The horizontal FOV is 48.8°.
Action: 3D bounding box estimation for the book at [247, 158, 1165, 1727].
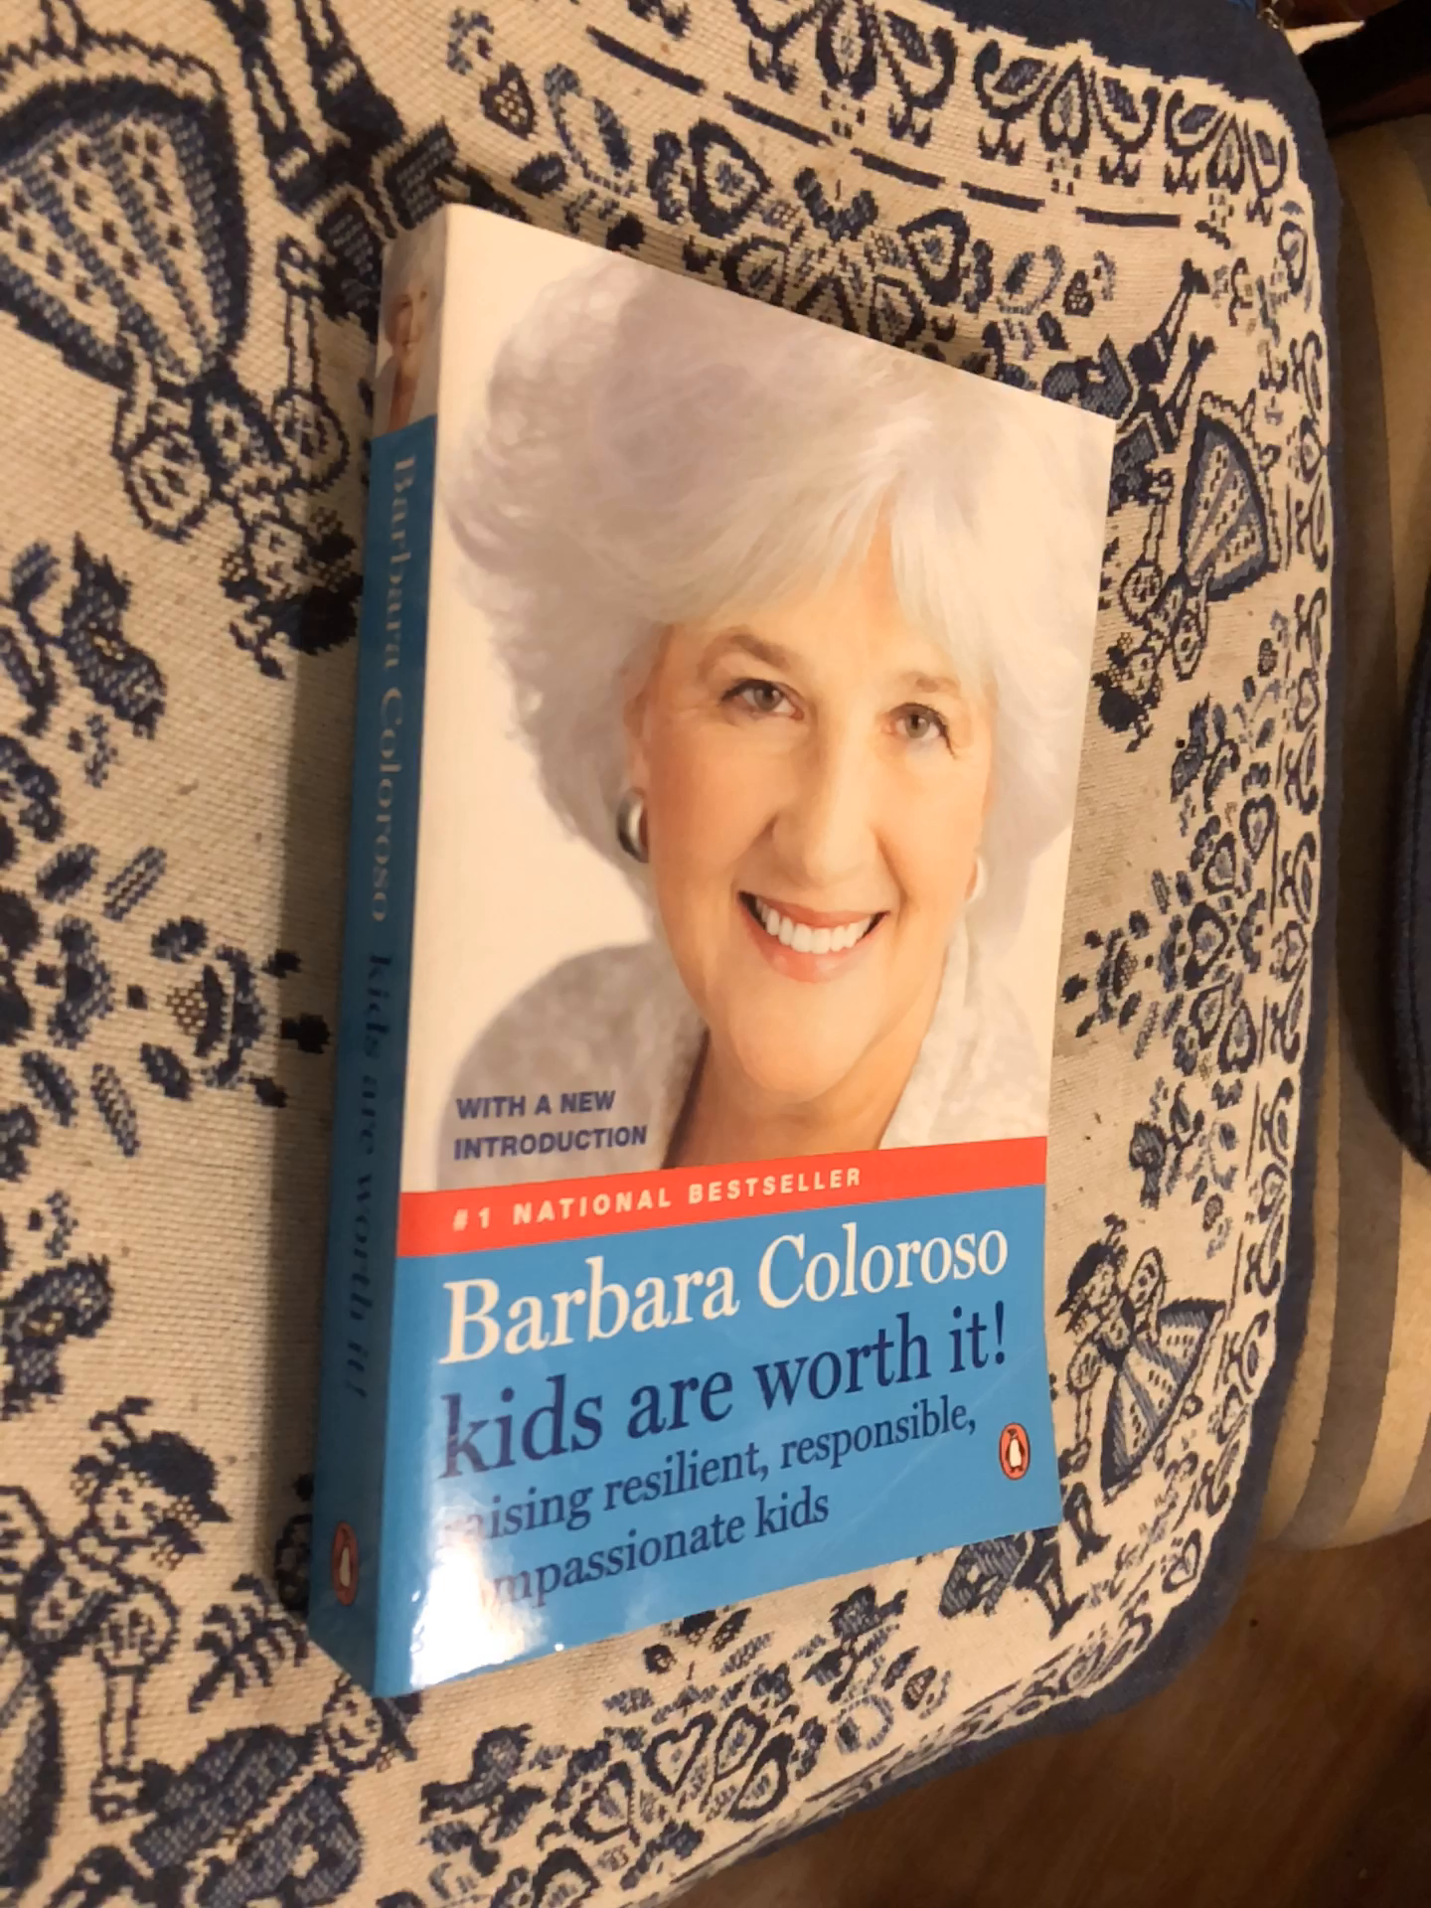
[{"bbox_3d":[0.004,0.001,0.286,0.151,0.050,0.220,2,94,-38],"label":"book"}]
